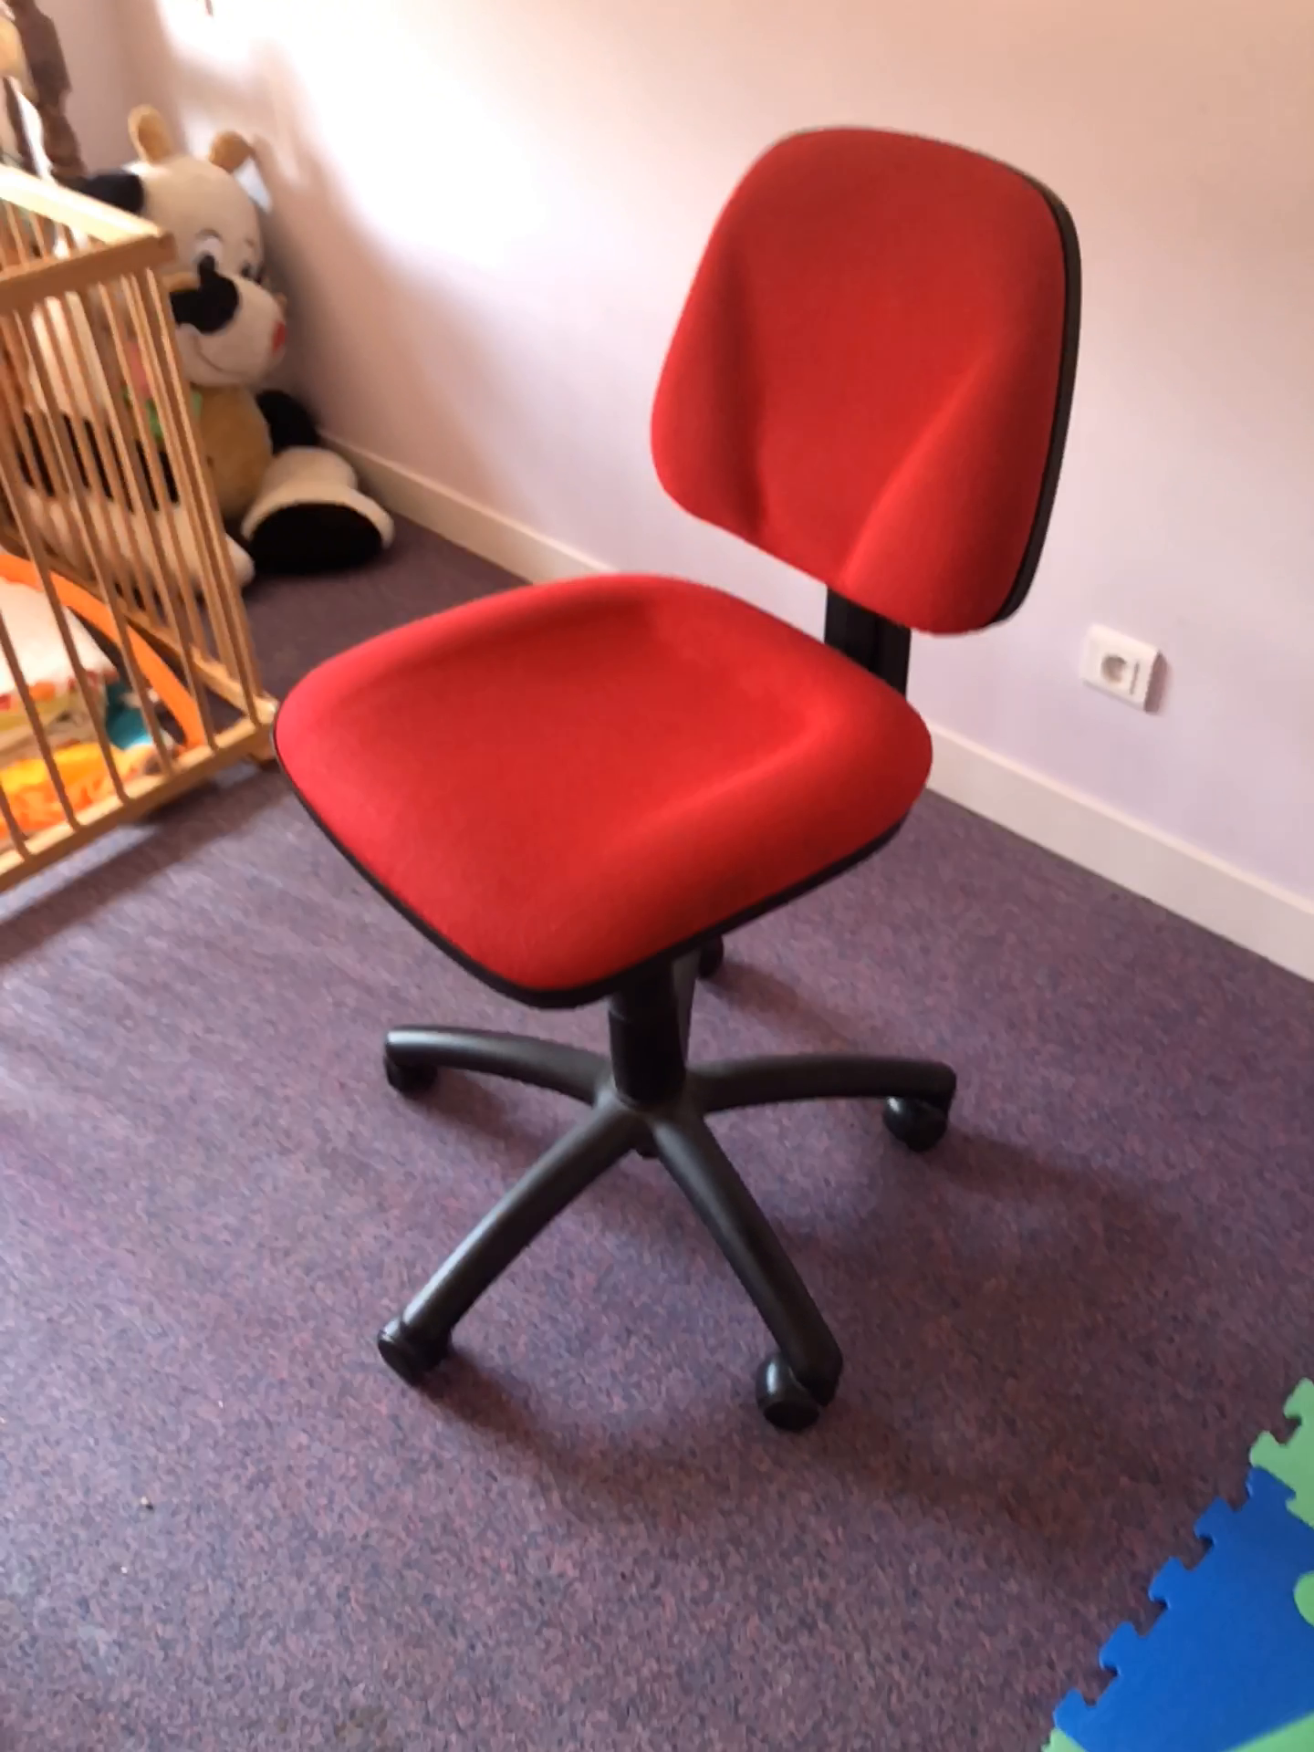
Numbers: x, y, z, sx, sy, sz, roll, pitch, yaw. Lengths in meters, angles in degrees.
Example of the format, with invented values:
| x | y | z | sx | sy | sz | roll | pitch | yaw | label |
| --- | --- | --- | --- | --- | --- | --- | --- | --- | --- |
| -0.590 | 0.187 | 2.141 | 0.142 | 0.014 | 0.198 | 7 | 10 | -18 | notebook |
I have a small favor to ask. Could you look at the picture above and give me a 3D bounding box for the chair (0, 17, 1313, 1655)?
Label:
| x | y | z | sx | sy | sz | roll | pitch | yaw | label |
| --- | --- | --- | --- | --- | --- | --- | --- | --- | --- |
| -0.015 | -0.070 | 1.124 | 0.673 | 0.894 | 0.641 | -27 | 46 | -27 | chair |
